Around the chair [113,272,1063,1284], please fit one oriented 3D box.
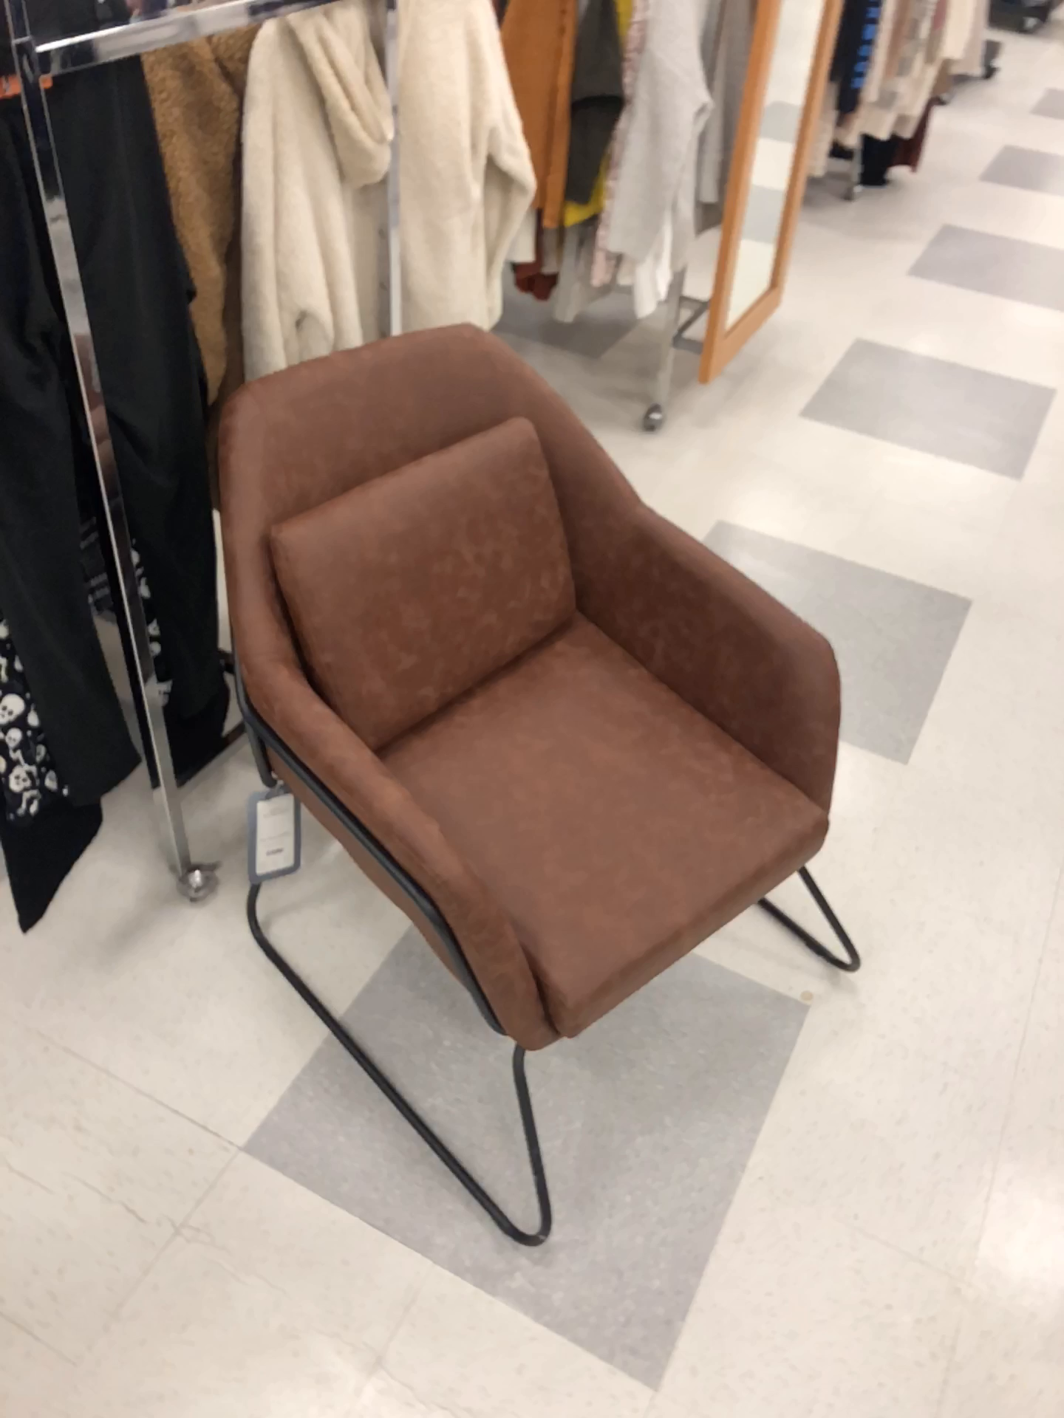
[{"bbox_3d":[0.037,0.042,1.569,0.737,0.850,0.760,-28,51,-32],"label":"chair"}]
